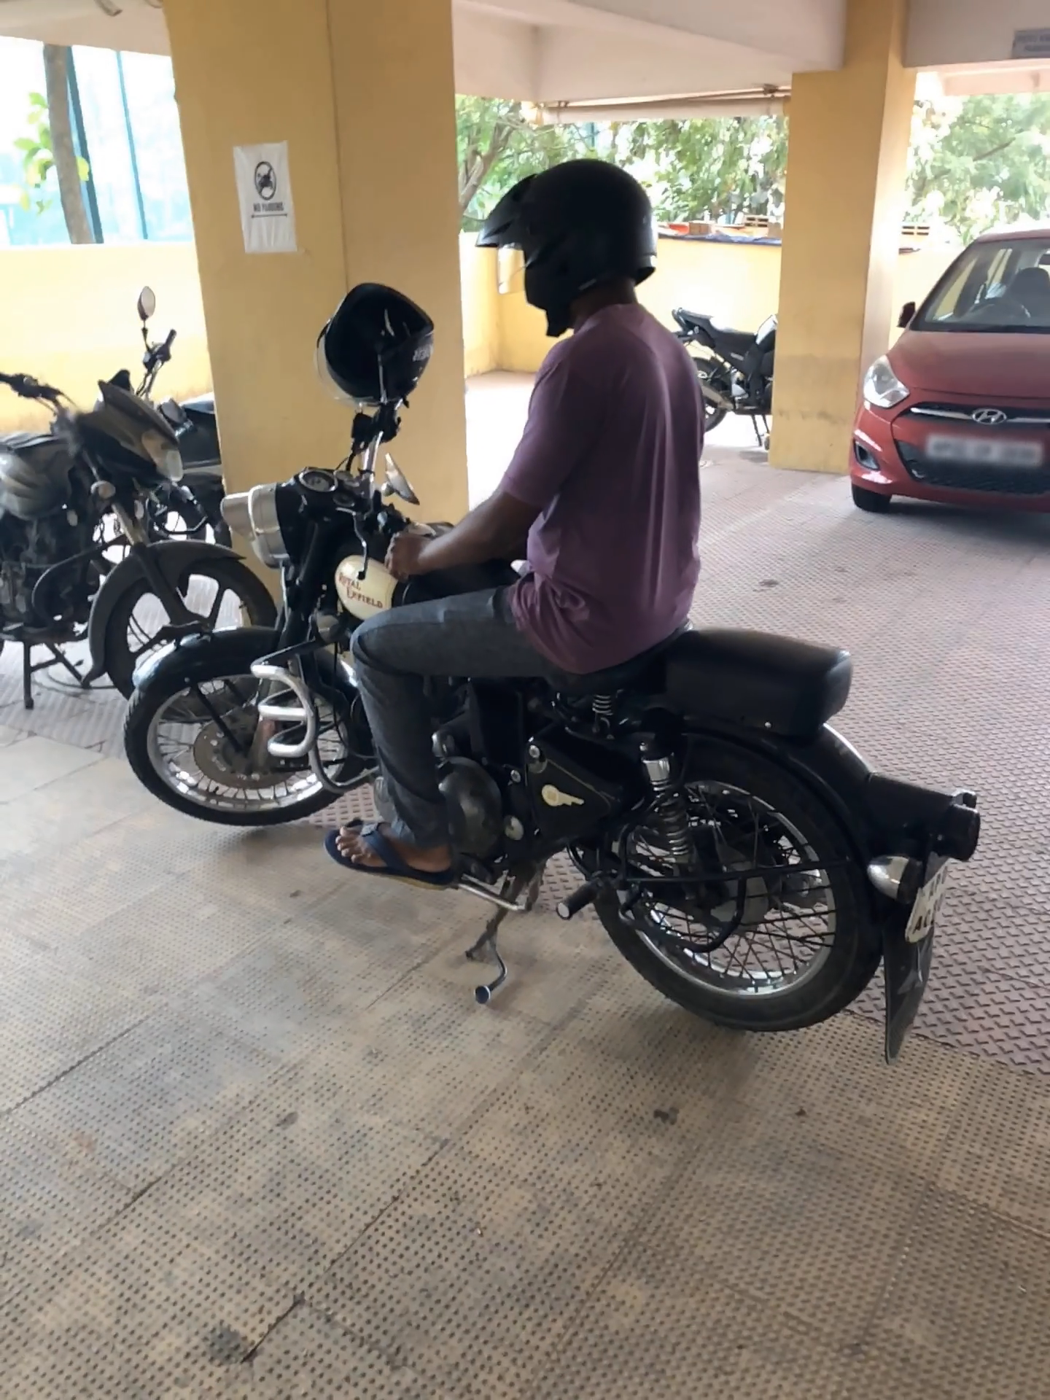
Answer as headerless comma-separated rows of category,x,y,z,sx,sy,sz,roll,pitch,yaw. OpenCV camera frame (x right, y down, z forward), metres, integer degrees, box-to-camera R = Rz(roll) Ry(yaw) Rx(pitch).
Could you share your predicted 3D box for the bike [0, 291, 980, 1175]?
bike,-0.163,-0.088,2.299,1.763,1.097,0.729,16,27,23
